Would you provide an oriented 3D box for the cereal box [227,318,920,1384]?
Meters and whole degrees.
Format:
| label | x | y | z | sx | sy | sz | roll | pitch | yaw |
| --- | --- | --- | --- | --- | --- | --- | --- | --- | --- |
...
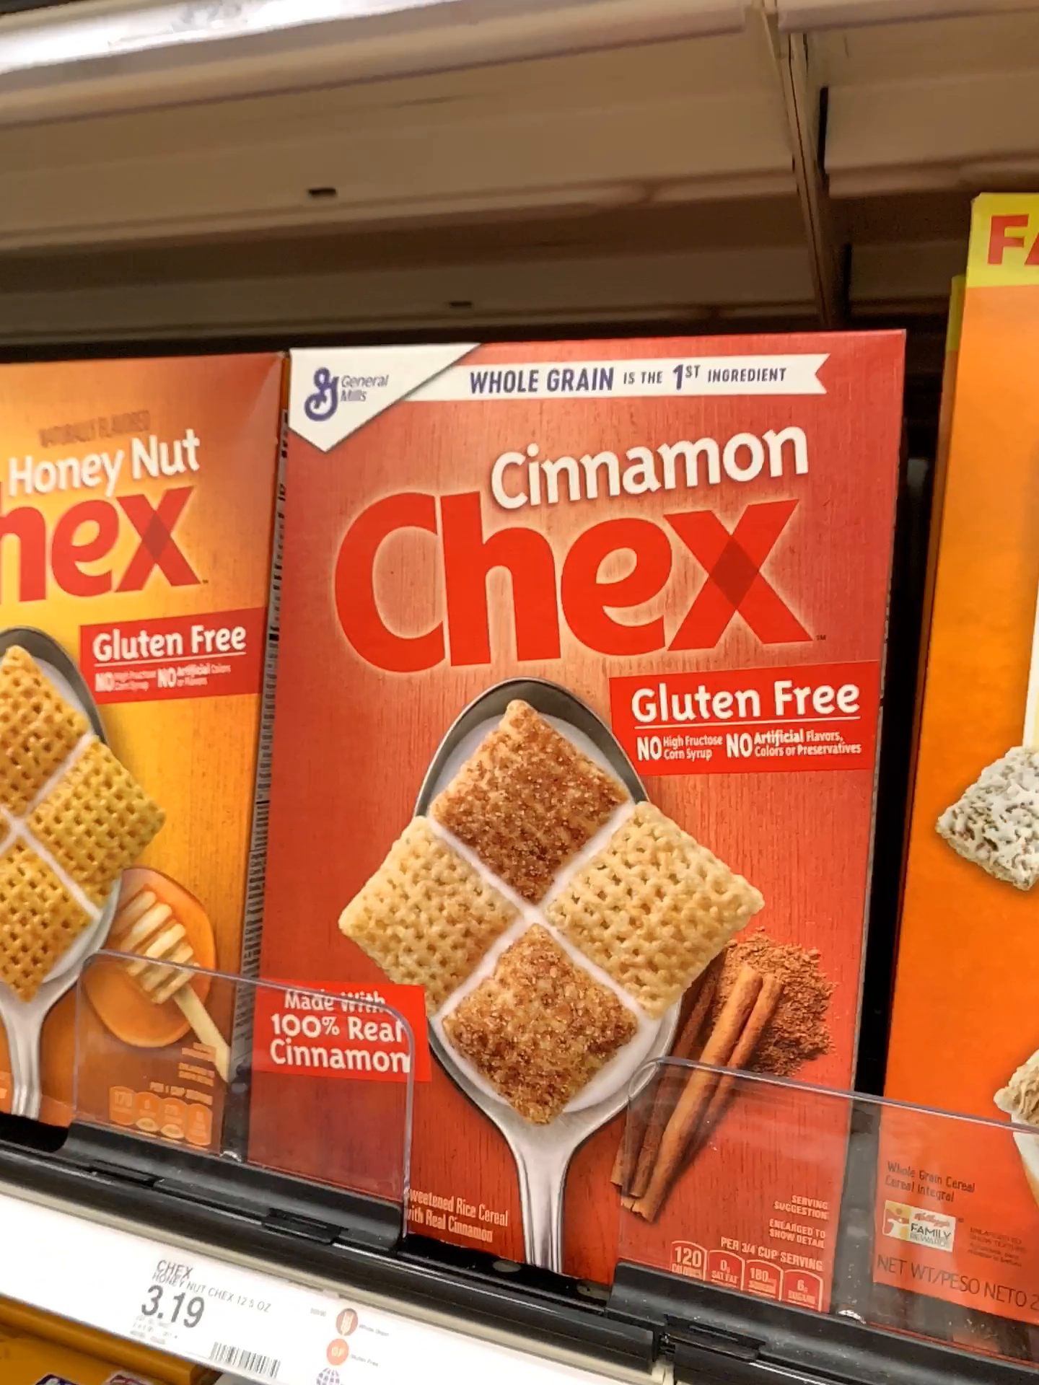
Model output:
| label | x | y | z | sx | sy | sz | roll | pitch | yaw |
| --- | --- | --- | --- | --- | --- | --- | --- | --- | --- |
| cereal box | 0.014 | 0.041 | 0.356 | 0.200 | 0.300 | 0.060 | 5 | 2 | 20 |

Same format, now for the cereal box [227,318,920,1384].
| label | x | y | z | sx | sy | sz | roll | pitch | yaw |
| --- | --- | --- | --- | --- | --- | --- | --- | --- | --- |
| cereal box | 0.014 | 0.041 | 0.356 | 0.200 | 0.300 | 0.060 | 5 | 2 | 20 |
